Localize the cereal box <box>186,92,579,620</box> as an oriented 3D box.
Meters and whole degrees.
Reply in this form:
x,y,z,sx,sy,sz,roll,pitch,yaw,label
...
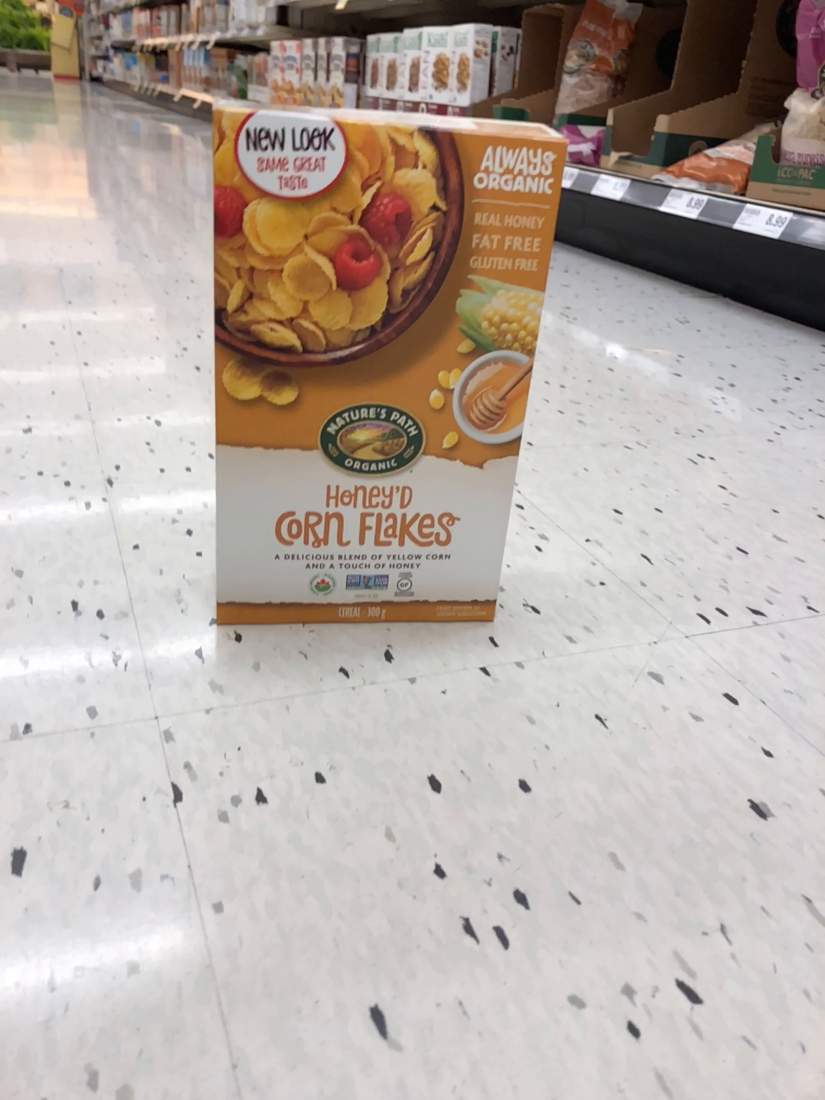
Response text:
x,y,z,sx,sy,sz,roll,pitch,yaw,label
-0.024,-0.084,0.447,0.160,0.239,0.060,1,27,-10,cereal box
